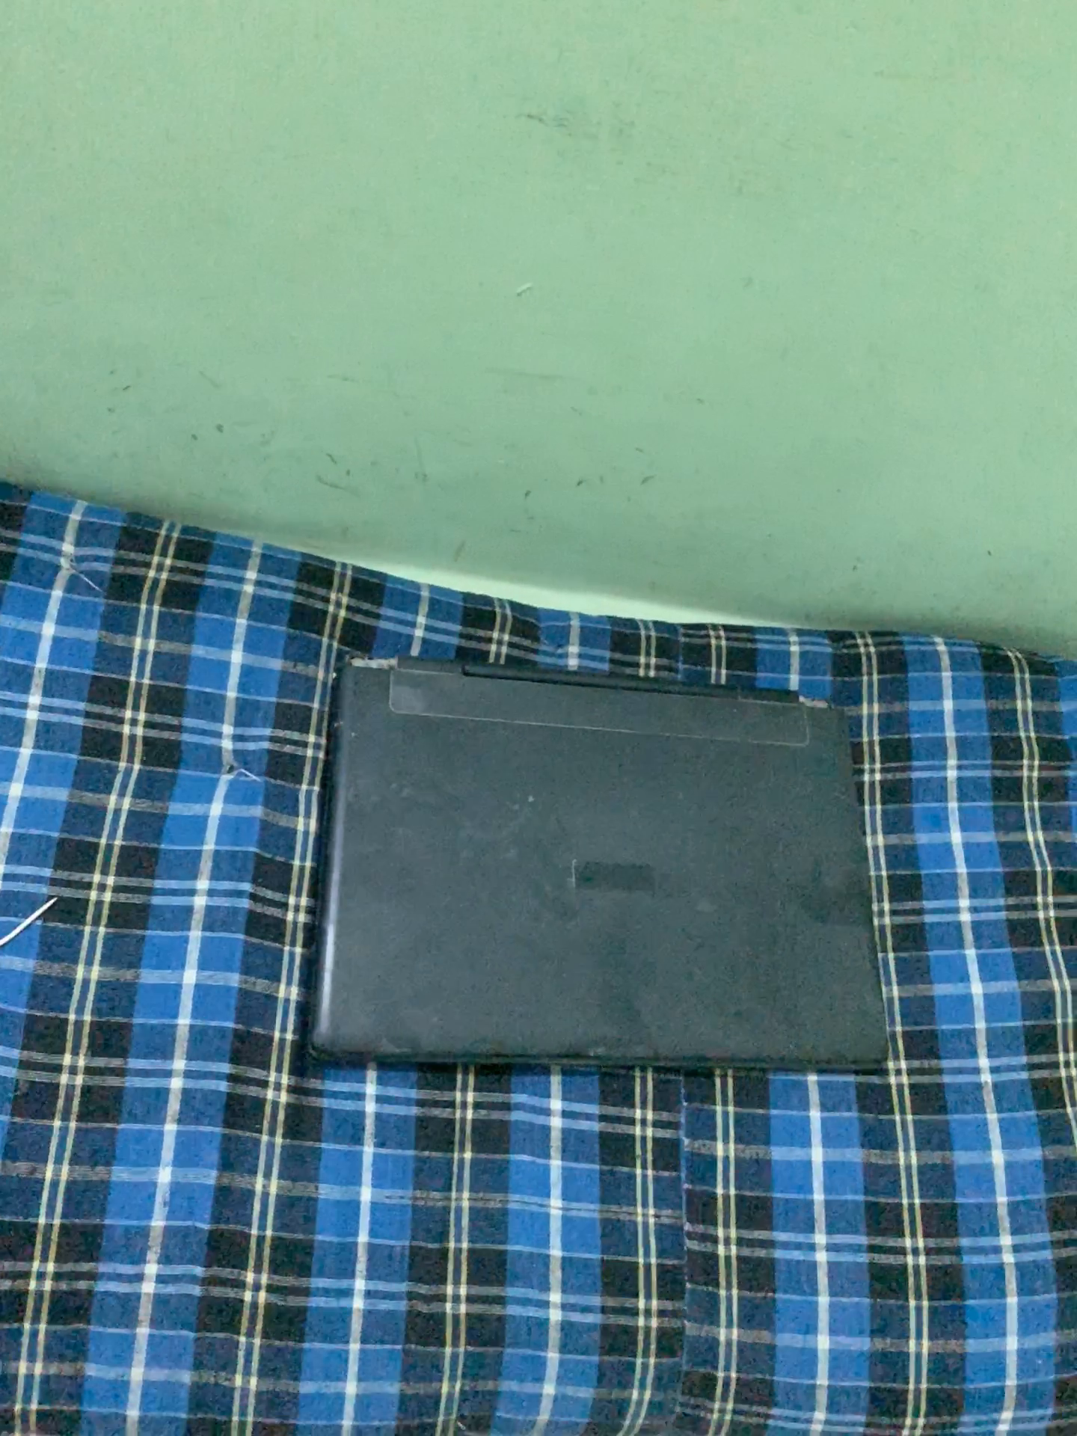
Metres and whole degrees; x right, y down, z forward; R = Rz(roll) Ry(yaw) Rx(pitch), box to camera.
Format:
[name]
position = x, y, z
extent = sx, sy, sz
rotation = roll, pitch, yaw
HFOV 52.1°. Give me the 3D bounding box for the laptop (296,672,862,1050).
[laptop]
position = 0.027, 0.082, 0.651
extent = 0.323, 0.005, 0.216
rotation = 3, 67, -13
